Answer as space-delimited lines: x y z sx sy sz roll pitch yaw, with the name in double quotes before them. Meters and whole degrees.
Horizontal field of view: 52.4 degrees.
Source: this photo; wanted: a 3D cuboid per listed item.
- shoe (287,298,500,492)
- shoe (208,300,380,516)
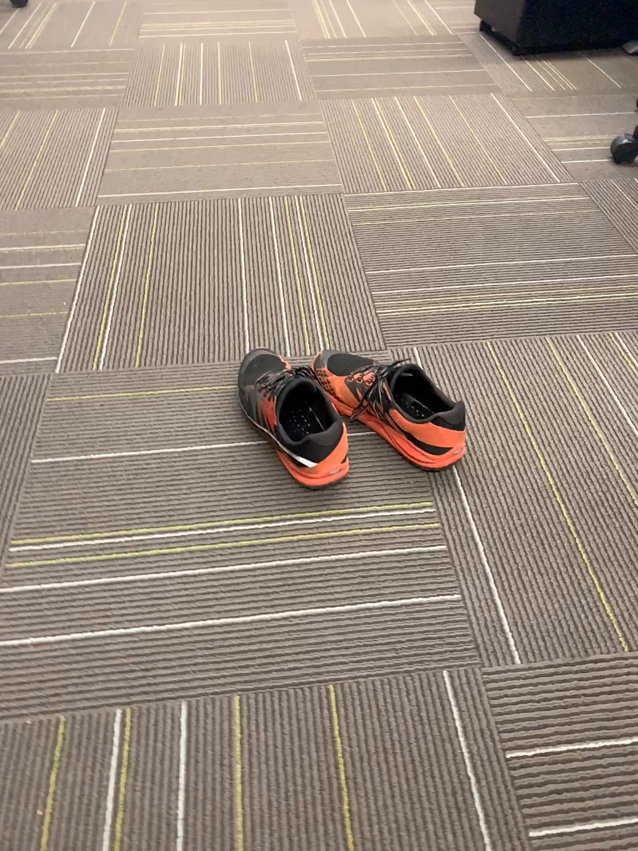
"shoe" 0.106 -0.057 1.032 0.311 0.129 0.130 35 56 29
"shoe" -0.048 -0.039 1.009 0.130 0.129 0.322 -20 50 -18
